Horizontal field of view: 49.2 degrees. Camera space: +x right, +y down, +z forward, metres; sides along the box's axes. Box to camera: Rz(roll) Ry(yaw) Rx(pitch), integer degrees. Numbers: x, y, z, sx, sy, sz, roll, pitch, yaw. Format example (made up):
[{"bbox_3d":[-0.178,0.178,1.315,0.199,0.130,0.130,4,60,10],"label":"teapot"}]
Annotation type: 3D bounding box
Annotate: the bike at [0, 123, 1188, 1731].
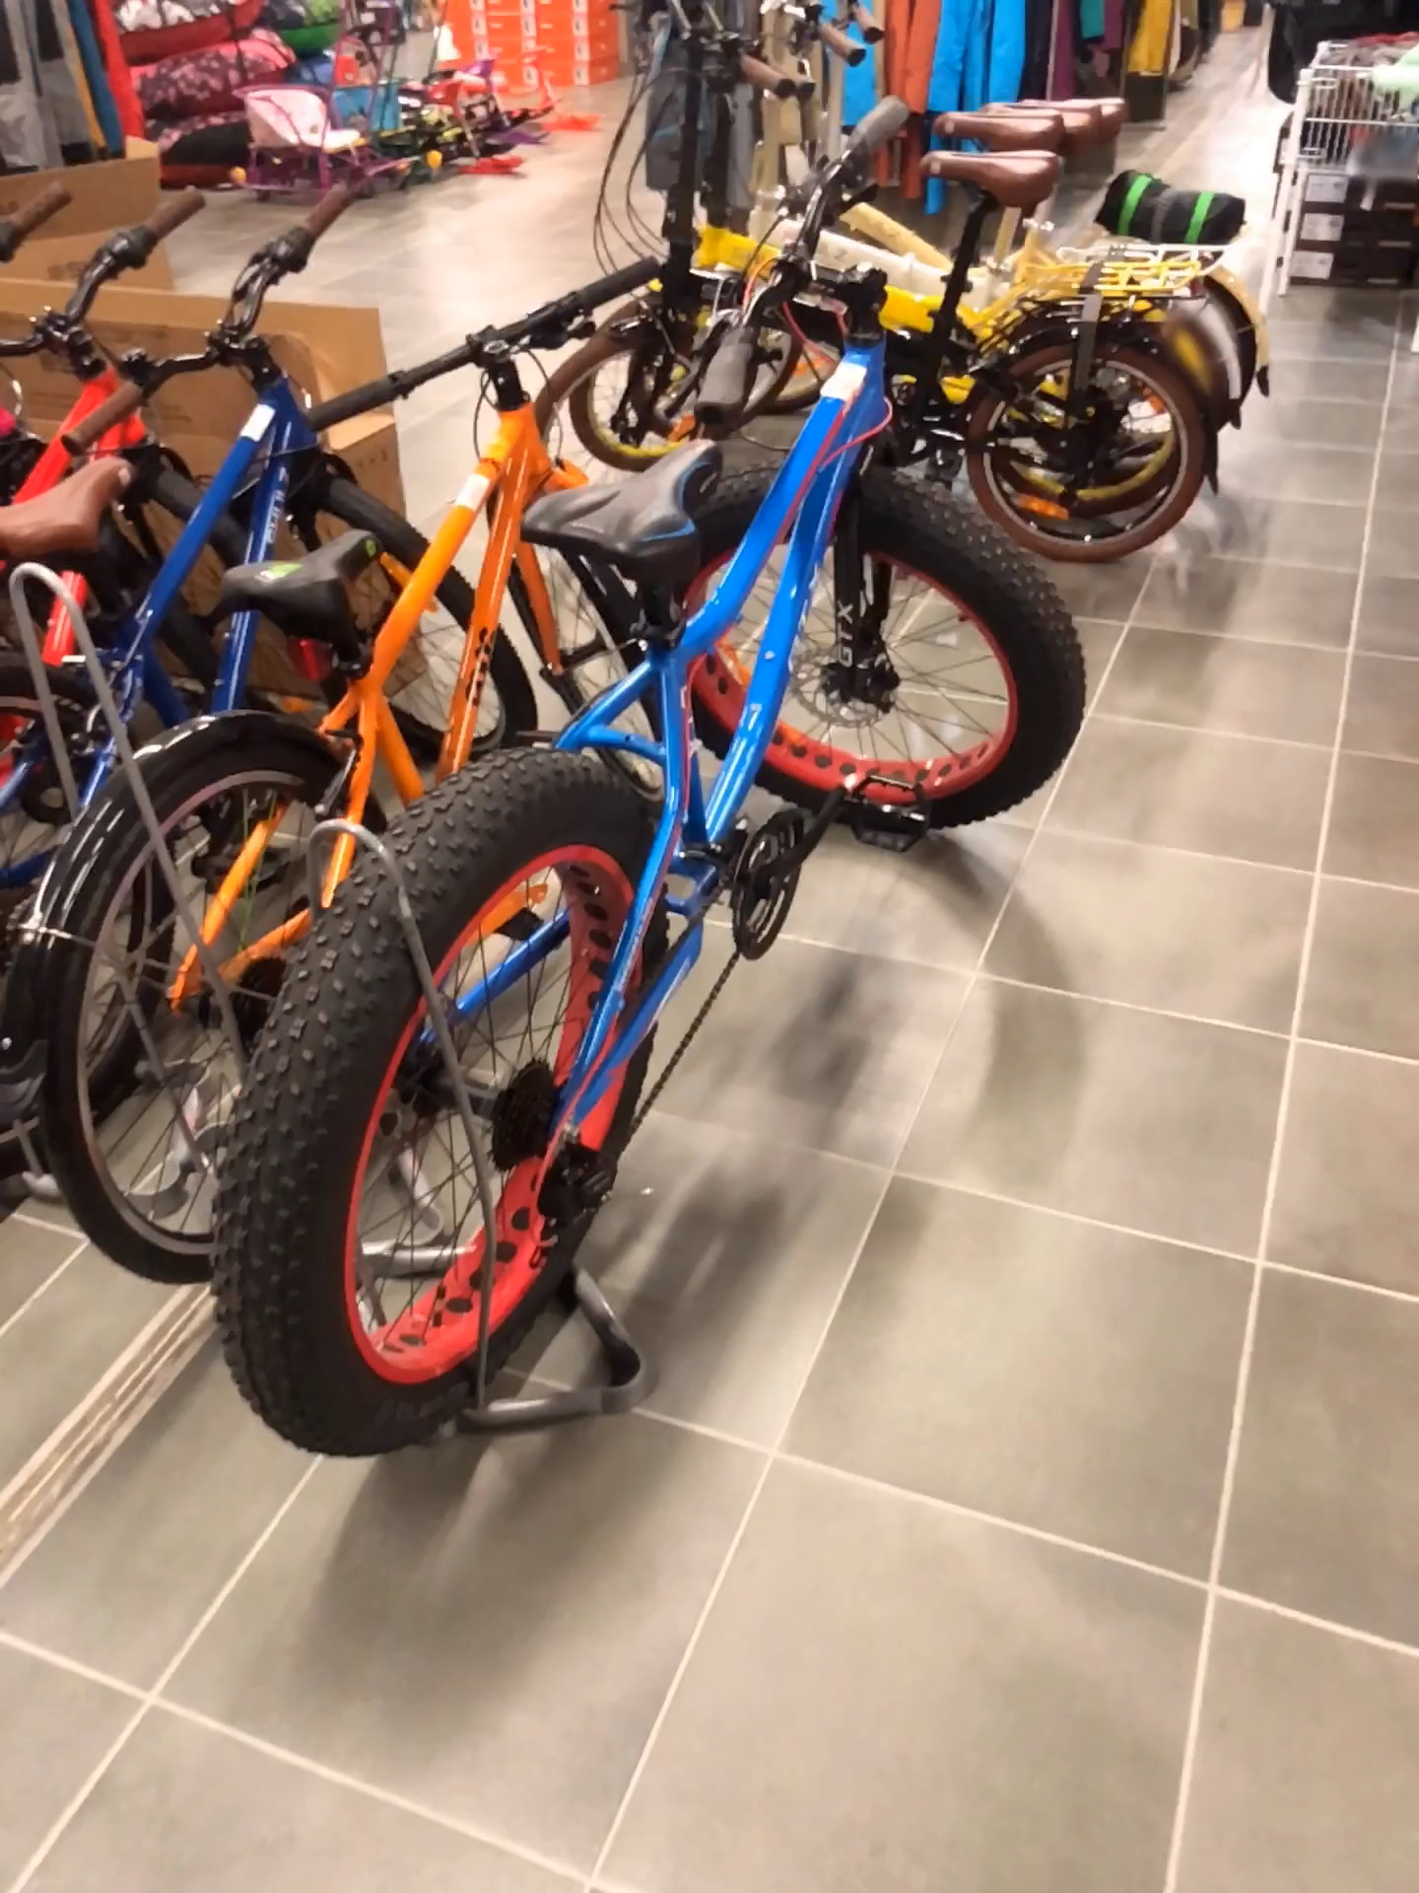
[{"bbox_3d":[0.025,-0.212,1.642,0.614,1.023,1.474,11,36,18],"label":"bike"}]
